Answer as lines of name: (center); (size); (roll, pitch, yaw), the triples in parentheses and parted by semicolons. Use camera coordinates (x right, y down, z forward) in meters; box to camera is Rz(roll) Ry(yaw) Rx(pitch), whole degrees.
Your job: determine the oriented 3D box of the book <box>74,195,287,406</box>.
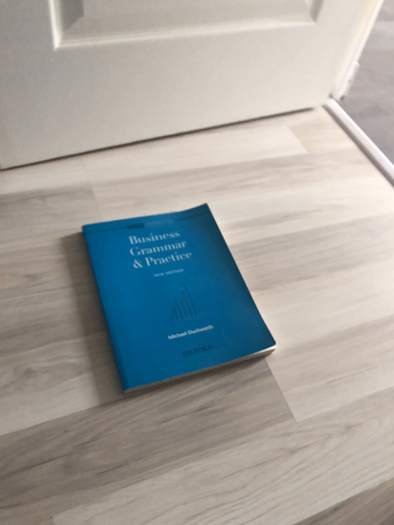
book: (-0.038, 0.031, 0.649); (0.231, 0.040, 0.301); (-11, 54, -18)
